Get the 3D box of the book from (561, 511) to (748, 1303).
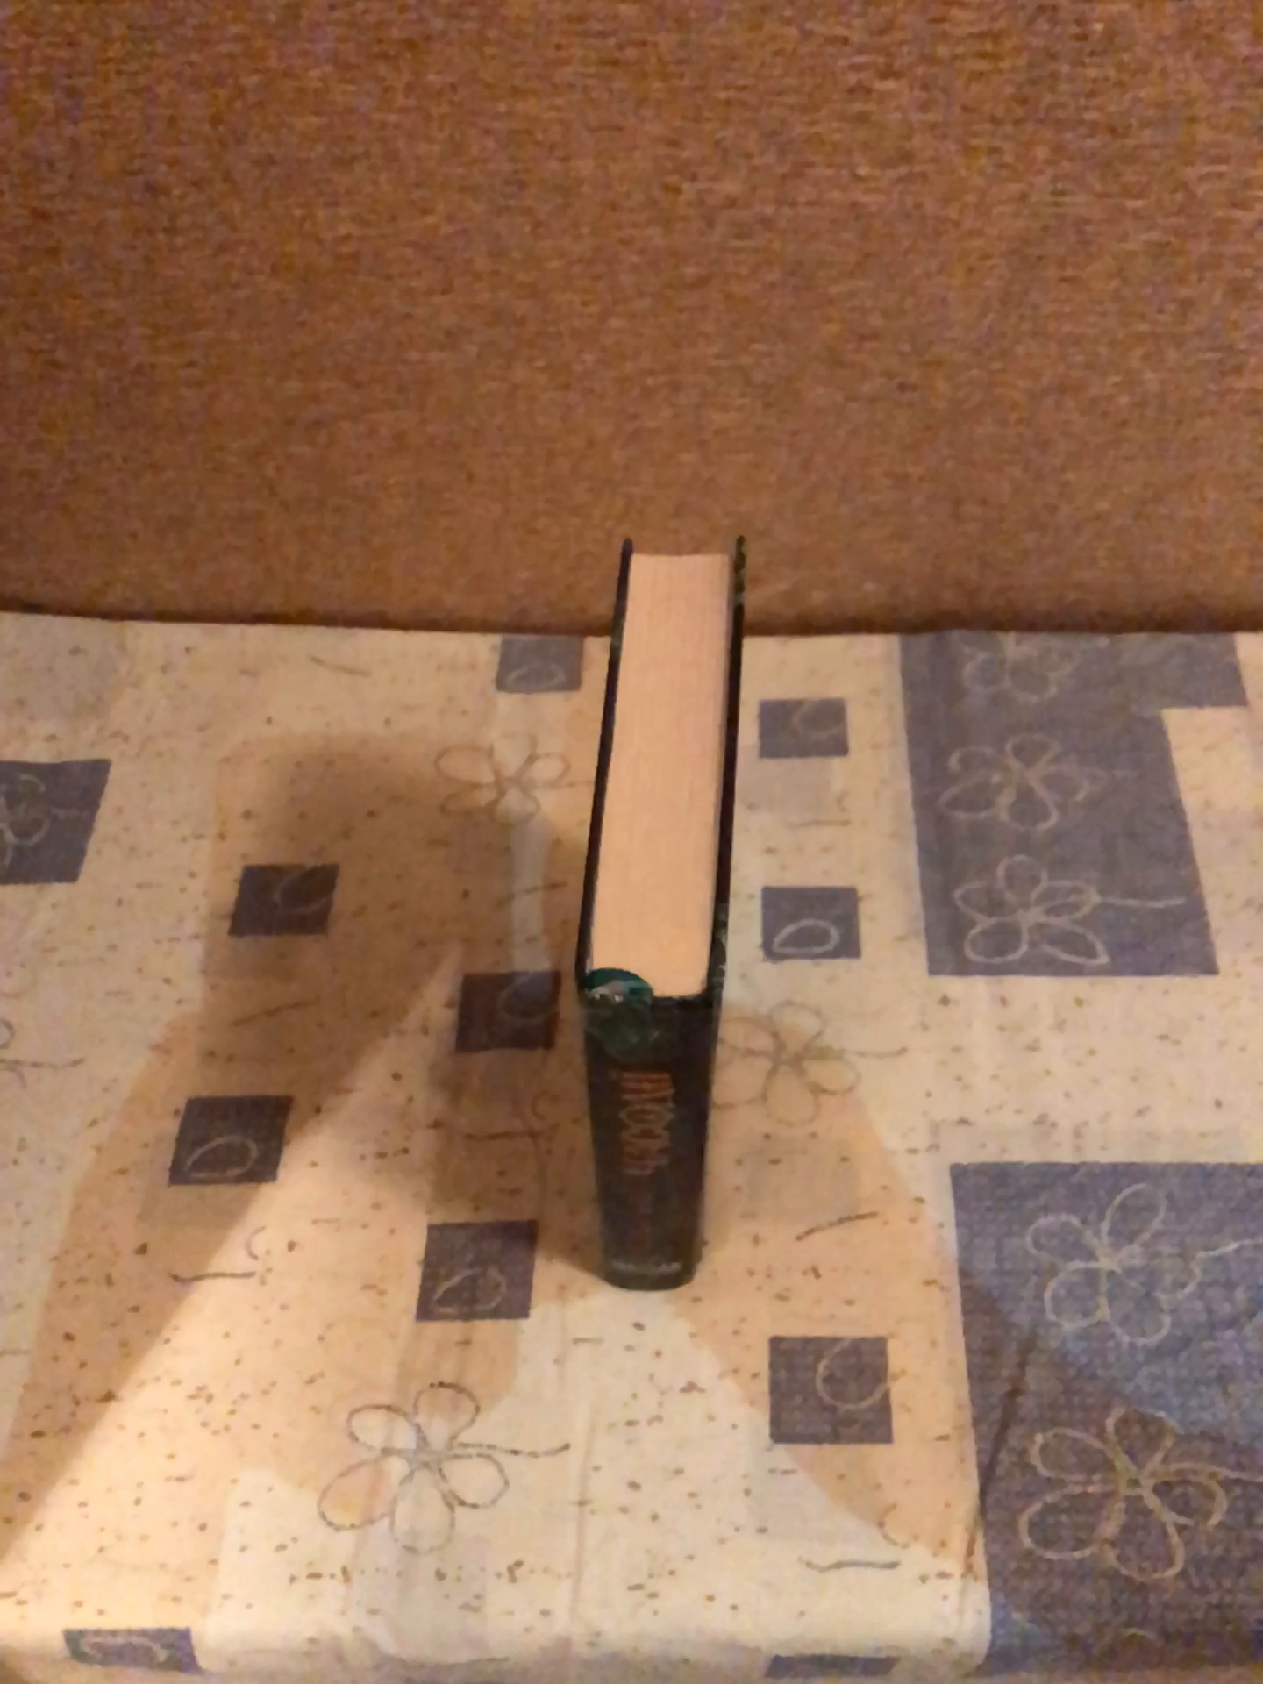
[{"bbox_3d":[0.014,0.031,0.469,0.040,0.216,0.174,2,53,4],"label":"book"}]
